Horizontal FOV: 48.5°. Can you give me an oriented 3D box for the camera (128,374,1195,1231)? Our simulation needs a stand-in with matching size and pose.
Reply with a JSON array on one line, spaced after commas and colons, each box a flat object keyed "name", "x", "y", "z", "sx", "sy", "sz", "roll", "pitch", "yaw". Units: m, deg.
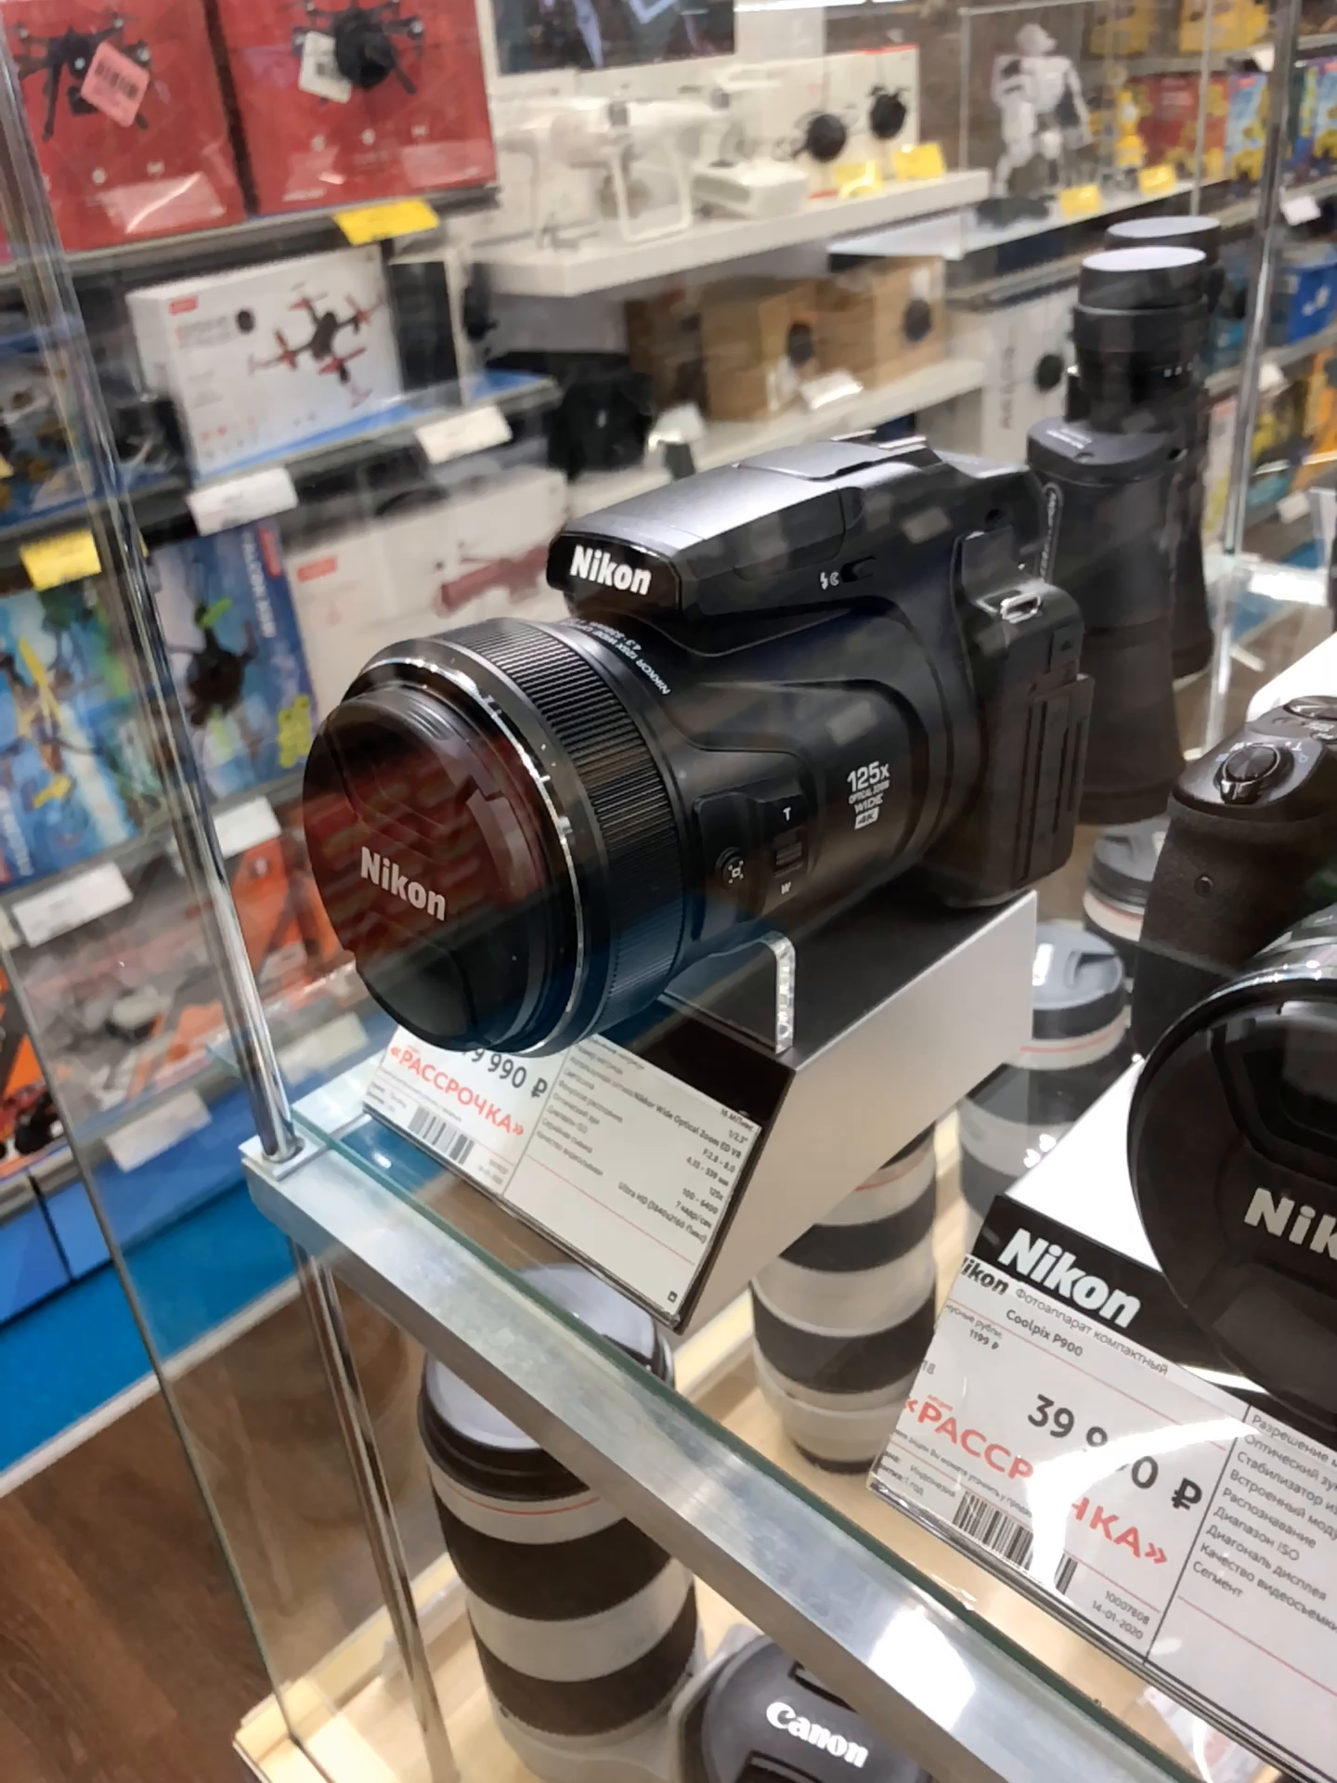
[{"name": "camera", "x": 0.005, "y": -0.046, "z": 0.382, "sx": 0.201, "sy": 0.113, "sz": 0.160, "roll": -30, "pitch": 38, "yaw": -35}]
